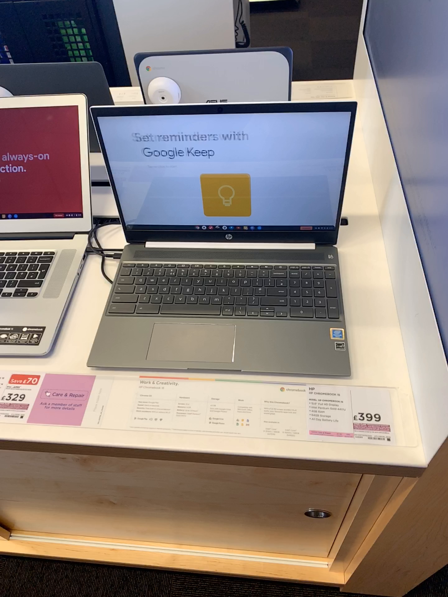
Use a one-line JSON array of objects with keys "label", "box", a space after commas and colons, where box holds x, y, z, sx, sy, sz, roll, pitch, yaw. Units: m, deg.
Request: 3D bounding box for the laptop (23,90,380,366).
[{"label": "laptop", "box": [-0.011, -0.094, 0.613, 0.351, 0.228, 0.265, 1, 50, 6]}]
